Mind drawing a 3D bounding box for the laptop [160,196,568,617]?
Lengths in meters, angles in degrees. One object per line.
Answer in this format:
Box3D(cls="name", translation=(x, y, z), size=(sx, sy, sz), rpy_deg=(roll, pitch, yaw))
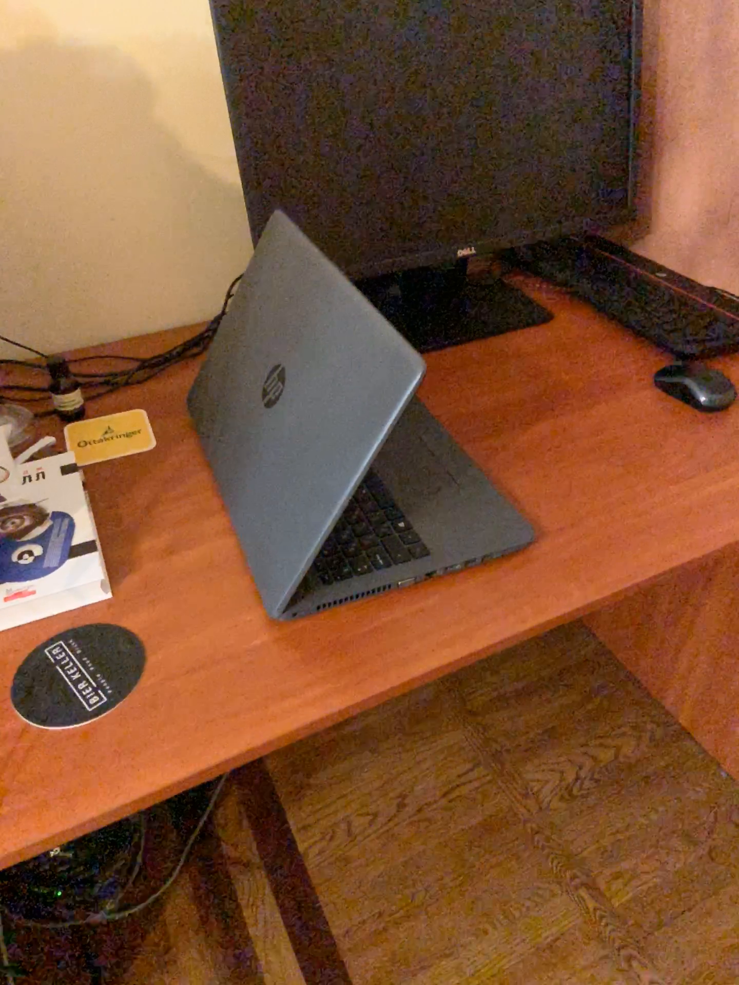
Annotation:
Box3D(cls="laptop", translation=(-0.032, -0.116, 0.735), size=(0.248, 0.207, 0.377), rpy_deg=(-14, 40, -16))
